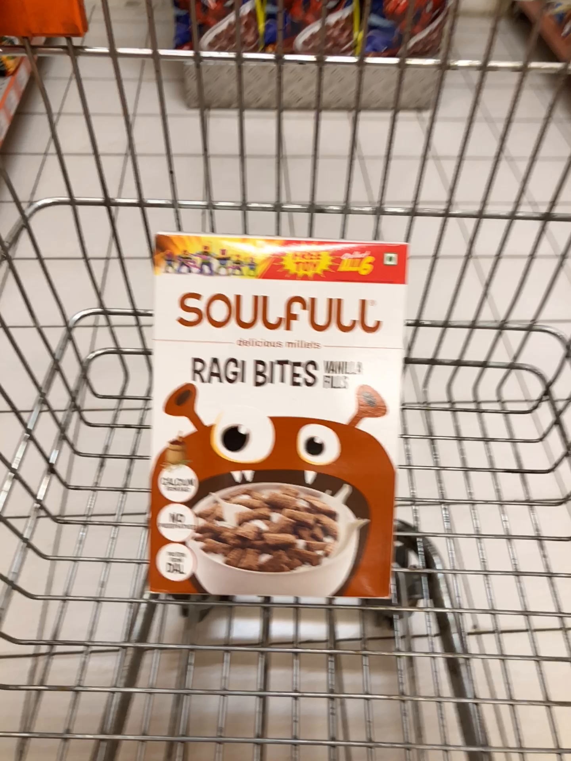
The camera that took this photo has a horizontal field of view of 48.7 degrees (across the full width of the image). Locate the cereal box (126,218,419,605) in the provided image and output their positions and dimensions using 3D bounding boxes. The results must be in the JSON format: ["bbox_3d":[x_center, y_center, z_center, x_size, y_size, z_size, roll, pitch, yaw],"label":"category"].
[{"bbox_3d":[-0.012,0.022,0.450,0.180,0.250,0.070,3,6,-3],"label":"cereal box"}]
